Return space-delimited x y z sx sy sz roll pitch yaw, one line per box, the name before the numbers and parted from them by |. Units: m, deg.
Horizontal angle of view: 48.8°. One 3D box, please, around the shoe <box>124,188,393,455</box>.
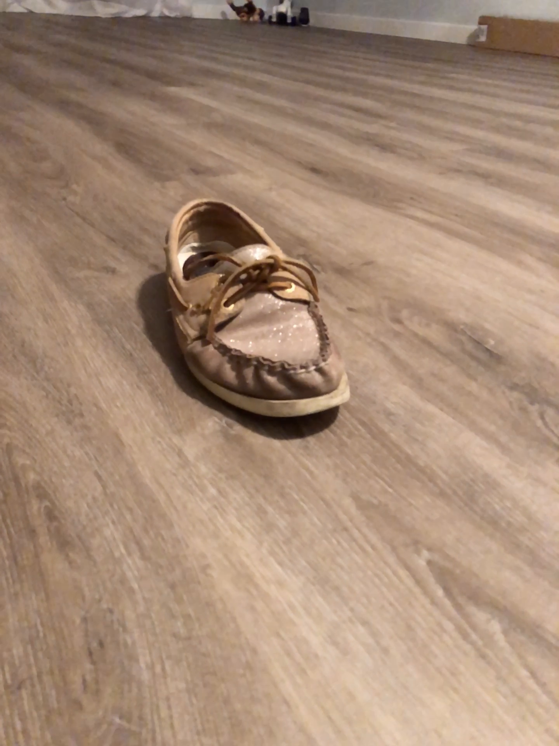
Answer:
shoe | -0.034 -0.056 0.423 0.100 0.070 0.251 -9 33 -19
